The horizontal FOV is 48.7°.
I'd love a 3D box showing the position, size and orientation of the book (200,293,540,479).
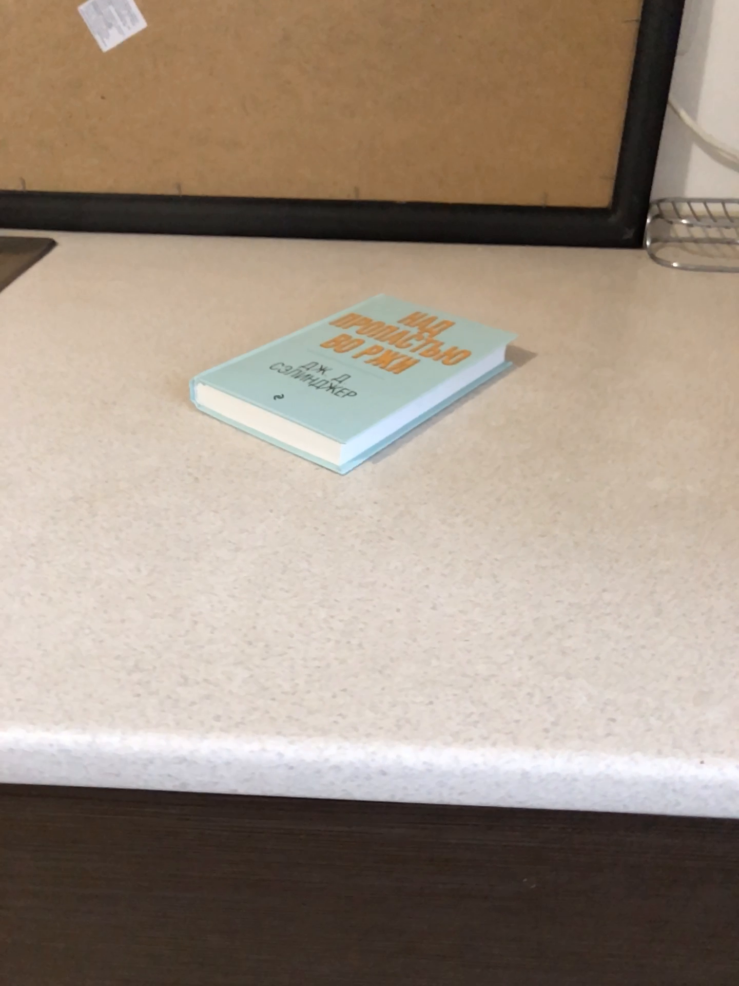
[{"bbox_3d":[0.006,-0.073,0.483,0.115,0.020,0.176,24,40,31],"label":"book"}]
